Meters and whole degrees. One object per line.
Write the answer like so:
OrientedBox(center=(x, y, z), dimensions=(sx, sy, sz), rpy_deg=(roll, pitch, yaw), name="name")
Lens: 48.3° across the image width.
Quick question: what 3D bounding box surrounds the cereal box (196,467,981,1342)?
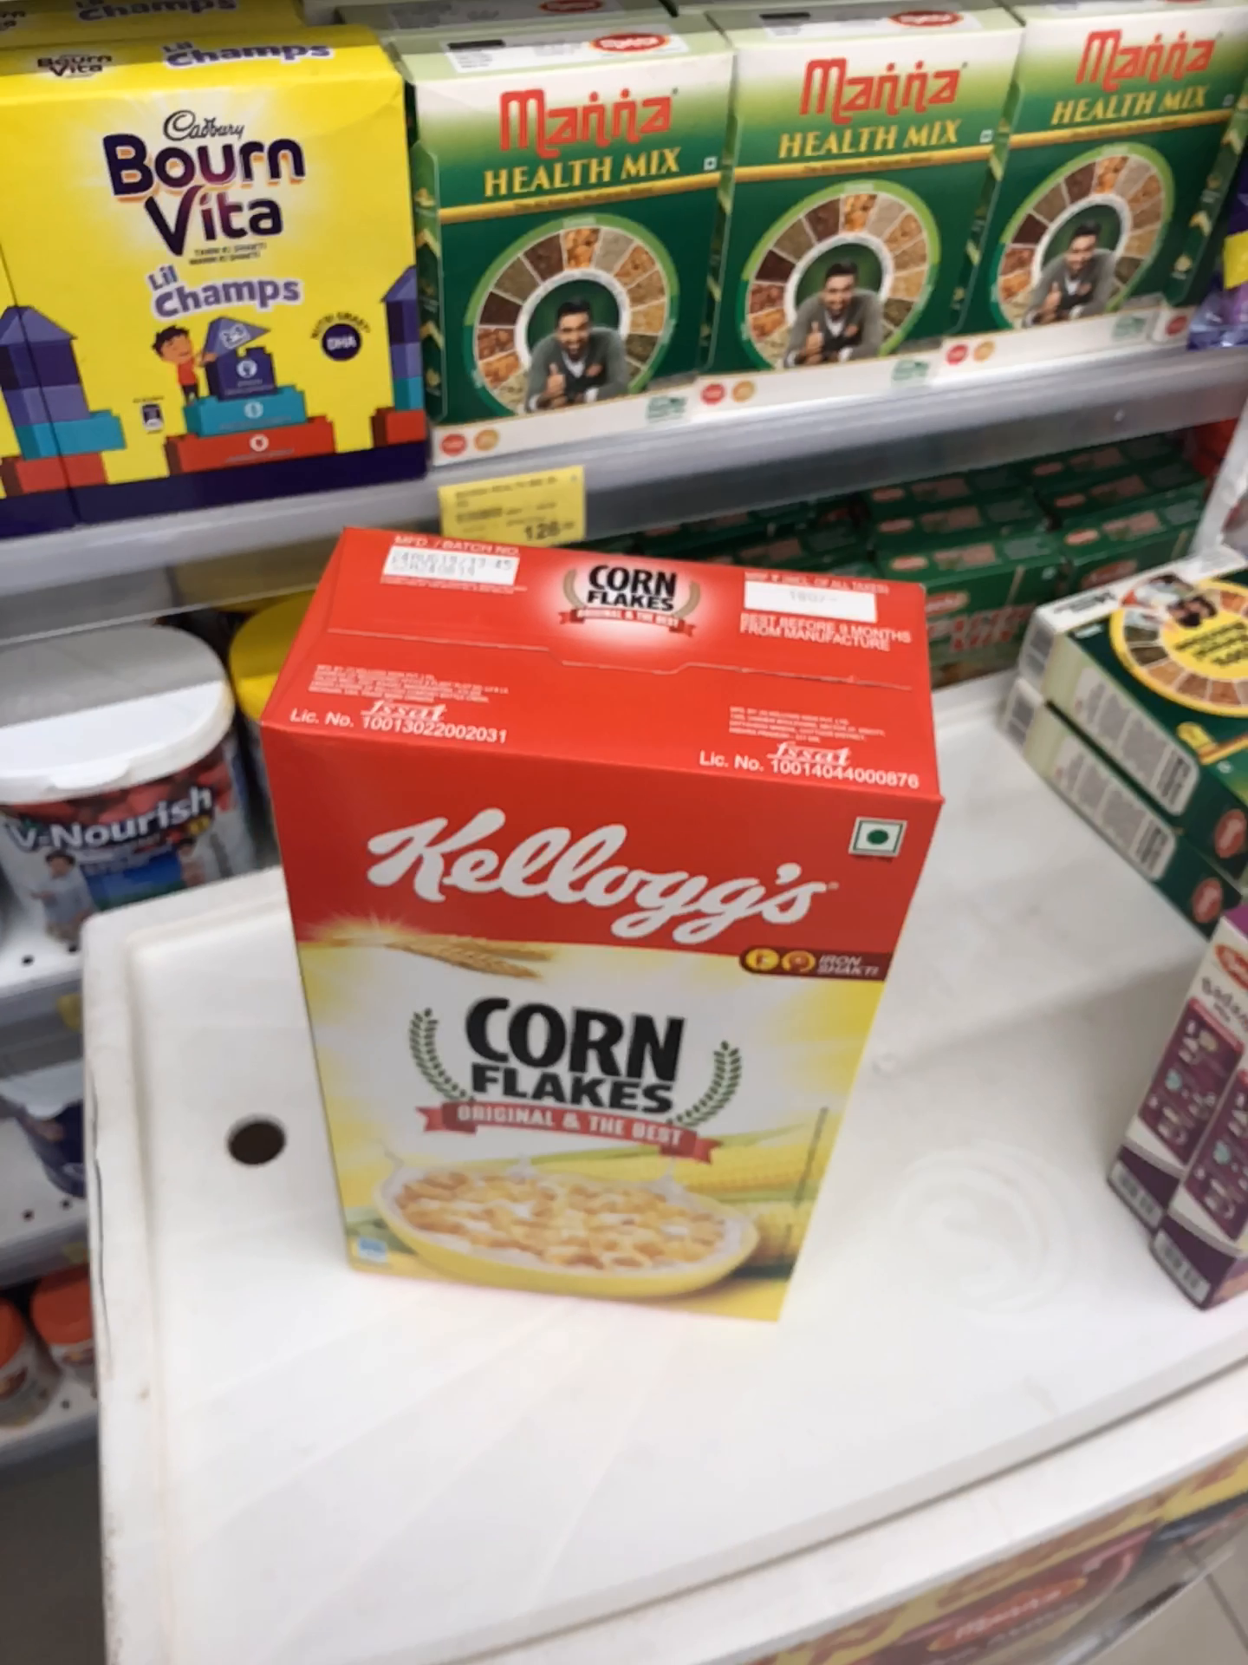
OrientedBox(center=(-0.010, 0.051, 0.509), dimensions=(0.200, 0.329, 0.110), rpy_deg=(7, 47, 4), name="cereal box")
